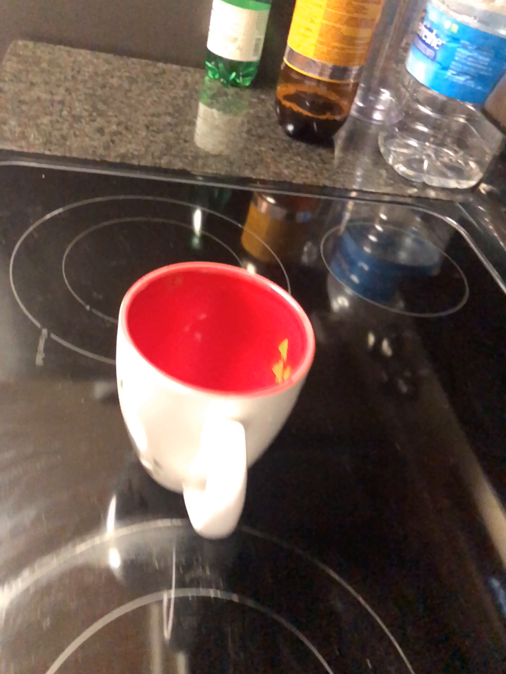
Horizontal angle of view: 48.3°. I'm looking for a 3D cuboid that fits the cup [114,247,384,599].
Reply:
[{"bbox_3d":[-0.018,0.039,0.293,0.100,0.100,0.141,2,43,-15],"label":"cup"}]
